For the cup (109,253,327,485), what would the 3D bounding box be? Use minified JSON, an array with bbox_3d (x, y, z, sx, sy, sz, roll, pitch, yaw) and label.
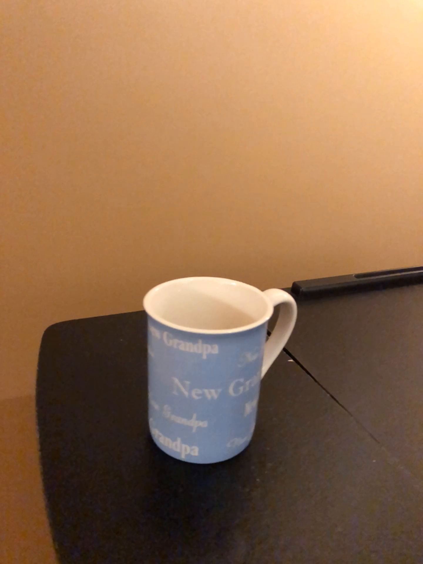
[{"bbox_3d":[0.005,0.055,0.367,0.130,0.110,0.100,-18,30,-41],"label":"cup"}]
